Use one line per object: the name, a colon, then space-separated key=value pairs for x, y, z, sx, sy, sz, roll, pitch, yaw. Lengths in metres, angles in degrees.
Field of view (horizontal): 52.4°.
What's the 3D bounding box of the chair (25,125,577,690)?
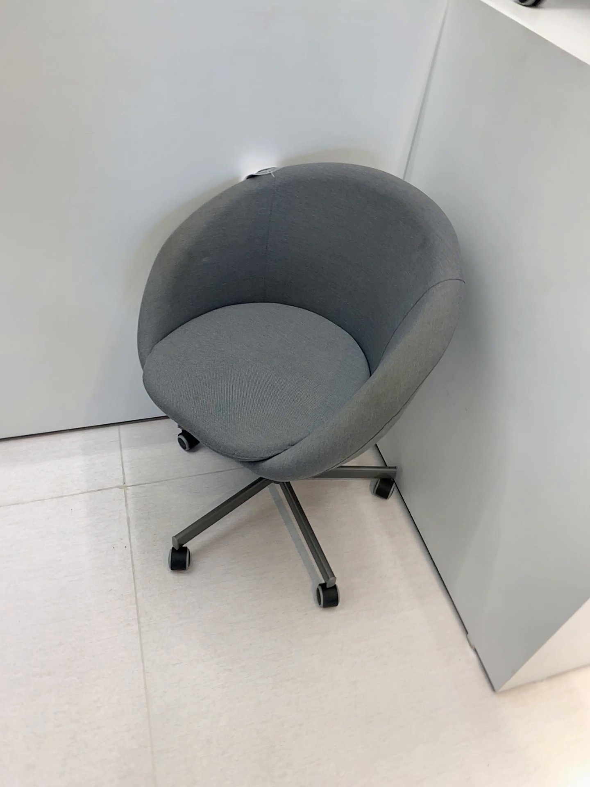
chair: x=-0.016 y=0.000 z=1.390 sx=0.731 sy=0.827 sz=0.712 roll=38 pitch=52 yaw=26
